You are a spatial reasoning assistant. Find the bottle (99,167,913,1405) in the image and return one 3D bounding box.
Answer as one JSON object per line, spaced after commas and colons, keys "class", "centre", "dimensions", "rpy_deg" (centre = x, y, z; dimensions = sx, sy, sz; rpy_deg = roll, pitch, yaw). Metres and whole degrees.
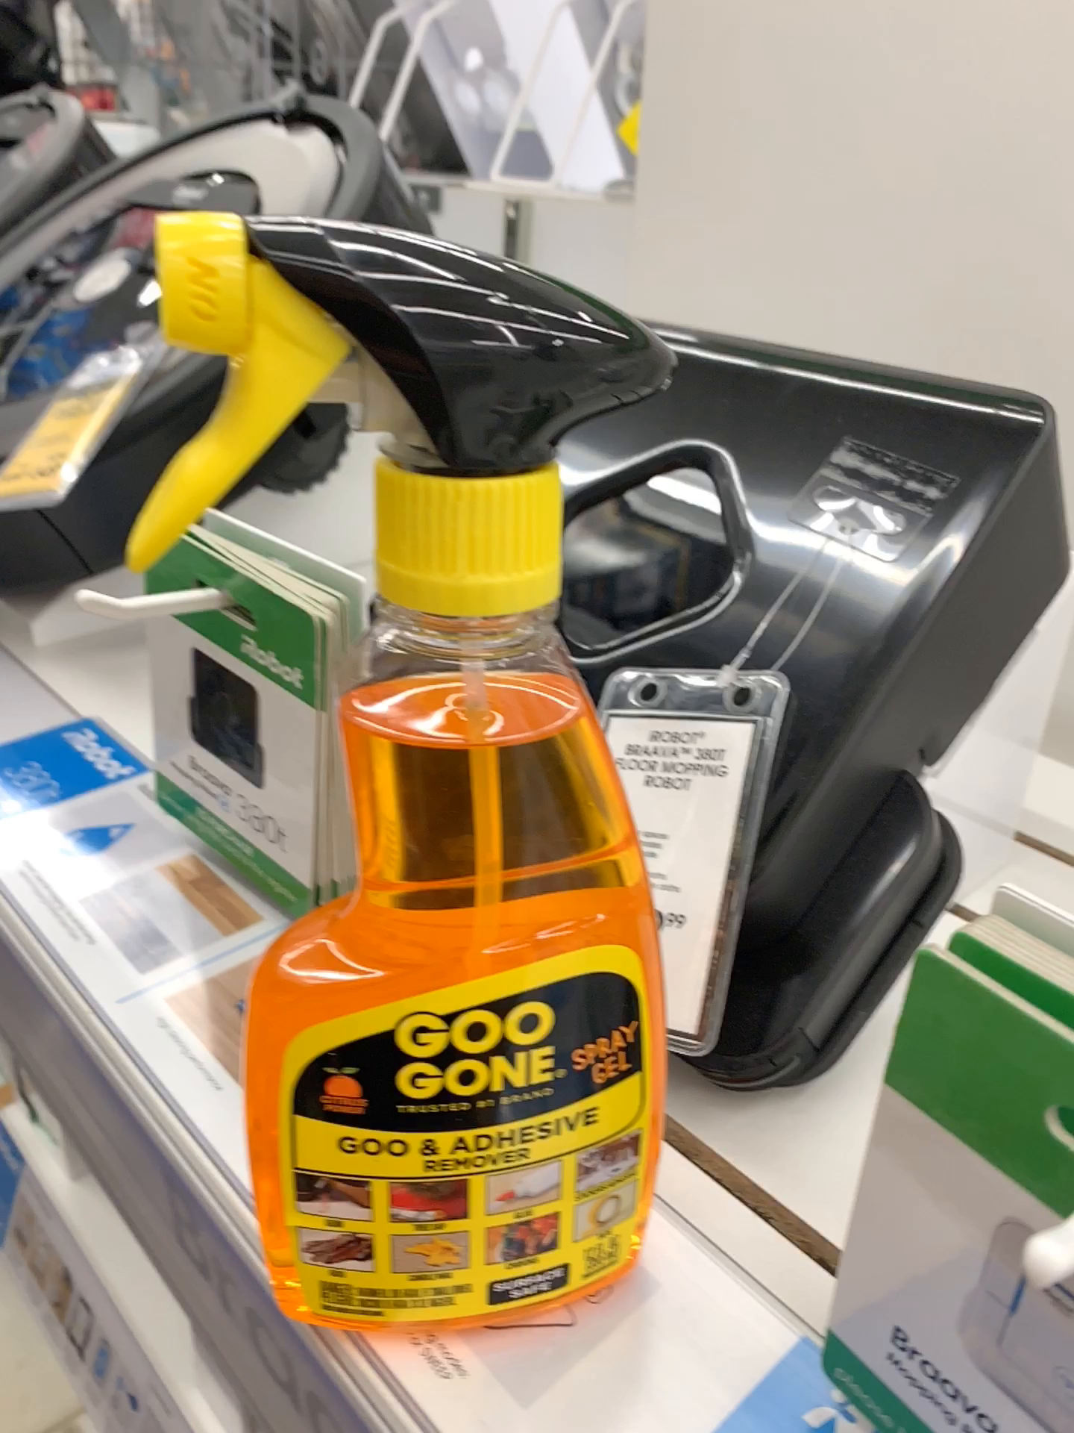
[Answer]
{"class": "bottle", "centre": [-0.010, 0.026, 0.209], "dimensions": [0.100, 0.226, 0.050], "rpy_deg": [-4, 28, -12]}
